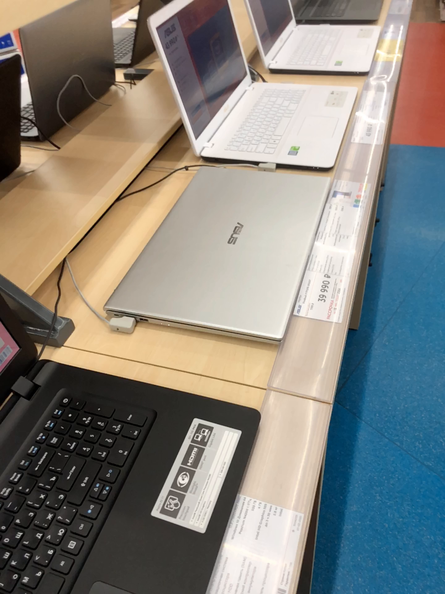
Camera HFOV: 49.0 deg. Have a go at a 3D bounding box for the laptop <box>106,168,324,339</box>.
[{"bbox_3d":[0.012,-0.098,0.779,0.232,0.006,0.393,10,44,15],"label":"laptop"}]
